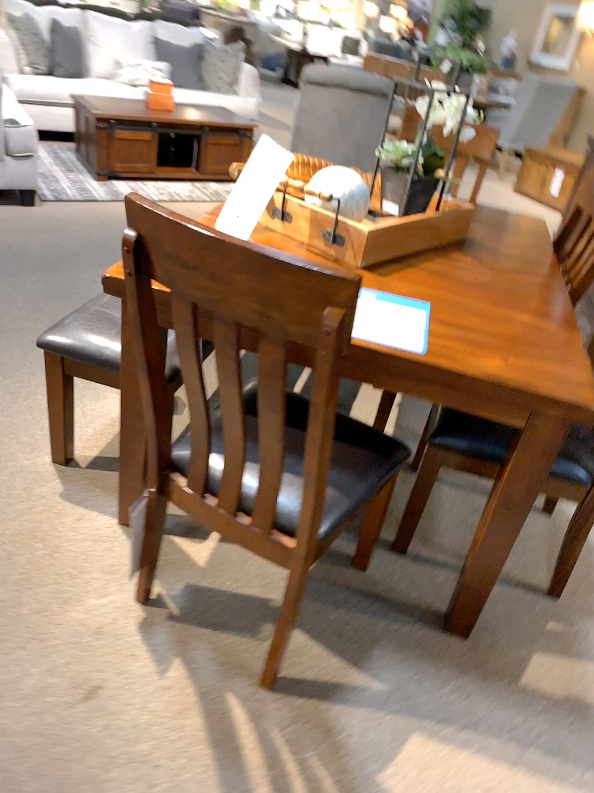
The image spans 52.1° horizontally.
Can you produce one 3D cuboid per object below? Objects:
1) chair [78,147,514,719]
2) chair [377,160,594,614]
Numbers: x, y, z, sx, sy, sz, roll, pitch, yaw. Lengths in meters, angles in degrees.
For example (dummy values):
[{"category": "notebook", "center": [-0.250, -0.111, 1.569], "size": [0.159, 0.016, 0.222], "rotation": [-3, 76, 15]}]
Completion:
[{"category": "chair", "center": [-0.034, 0.041, 1.247], "size": [0.532, 0.890, 0.541], "rotation": [25, 35, 22]}, {"category": "chair", "center": [0.605, -0.042, 1.570], "size": [0.529, 0.890, 0.594], "rotation": [15, 32, 7]}]
